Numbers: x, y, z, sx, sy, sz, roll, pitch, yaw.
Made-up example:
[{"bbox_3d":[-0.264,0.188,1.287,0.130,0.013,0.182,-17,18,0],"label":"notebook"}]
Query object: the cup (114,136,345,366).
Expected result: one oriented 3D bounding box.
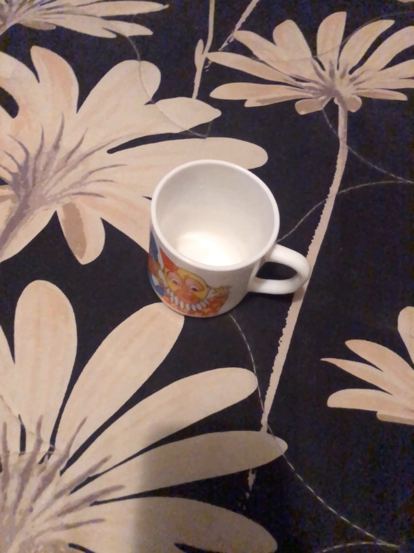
[{"bbox_3d":[0.013,-0.016,0.299,0.108,0.077,0.085,27,62,10],"label":"cup"}]
